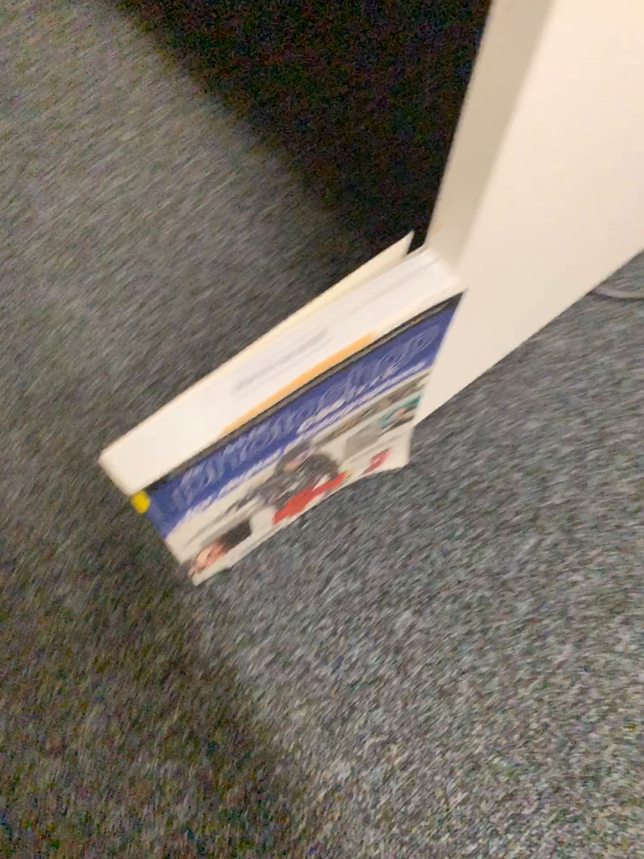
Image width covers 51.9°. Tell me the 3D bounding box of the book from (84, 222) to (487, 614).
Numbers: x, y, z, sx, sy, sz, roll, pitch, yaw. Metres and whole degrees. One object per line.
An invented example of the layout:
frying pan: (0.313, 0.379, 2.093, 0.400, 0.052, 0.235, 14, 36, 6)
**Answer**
book: (-0.017, 0.018, 0.453, 0.211, 0.276, 0.052, -36, 73, -16)
